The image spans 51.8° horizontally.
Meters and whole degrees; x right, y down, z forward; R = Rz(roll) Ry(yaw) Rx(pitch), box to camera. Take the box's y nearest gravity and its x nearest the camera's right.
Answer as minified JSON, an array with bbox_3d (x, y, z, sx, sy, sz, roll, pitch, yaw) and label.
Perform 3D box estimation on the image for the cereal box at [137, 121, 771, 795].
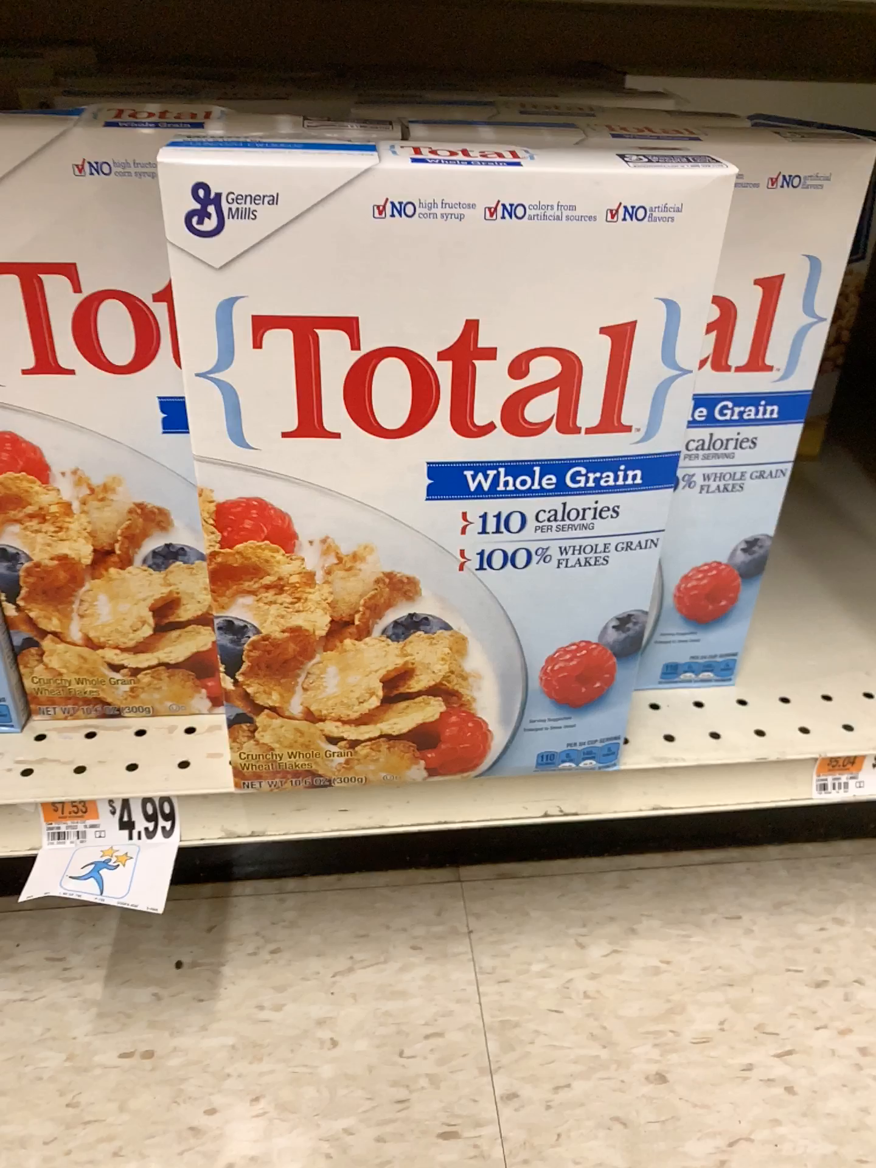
[{"bbox_3d":[0.002,-0.034,0.379,0.200,0.278,0.050,-2,33,-6],"label":"cereal box"}]
